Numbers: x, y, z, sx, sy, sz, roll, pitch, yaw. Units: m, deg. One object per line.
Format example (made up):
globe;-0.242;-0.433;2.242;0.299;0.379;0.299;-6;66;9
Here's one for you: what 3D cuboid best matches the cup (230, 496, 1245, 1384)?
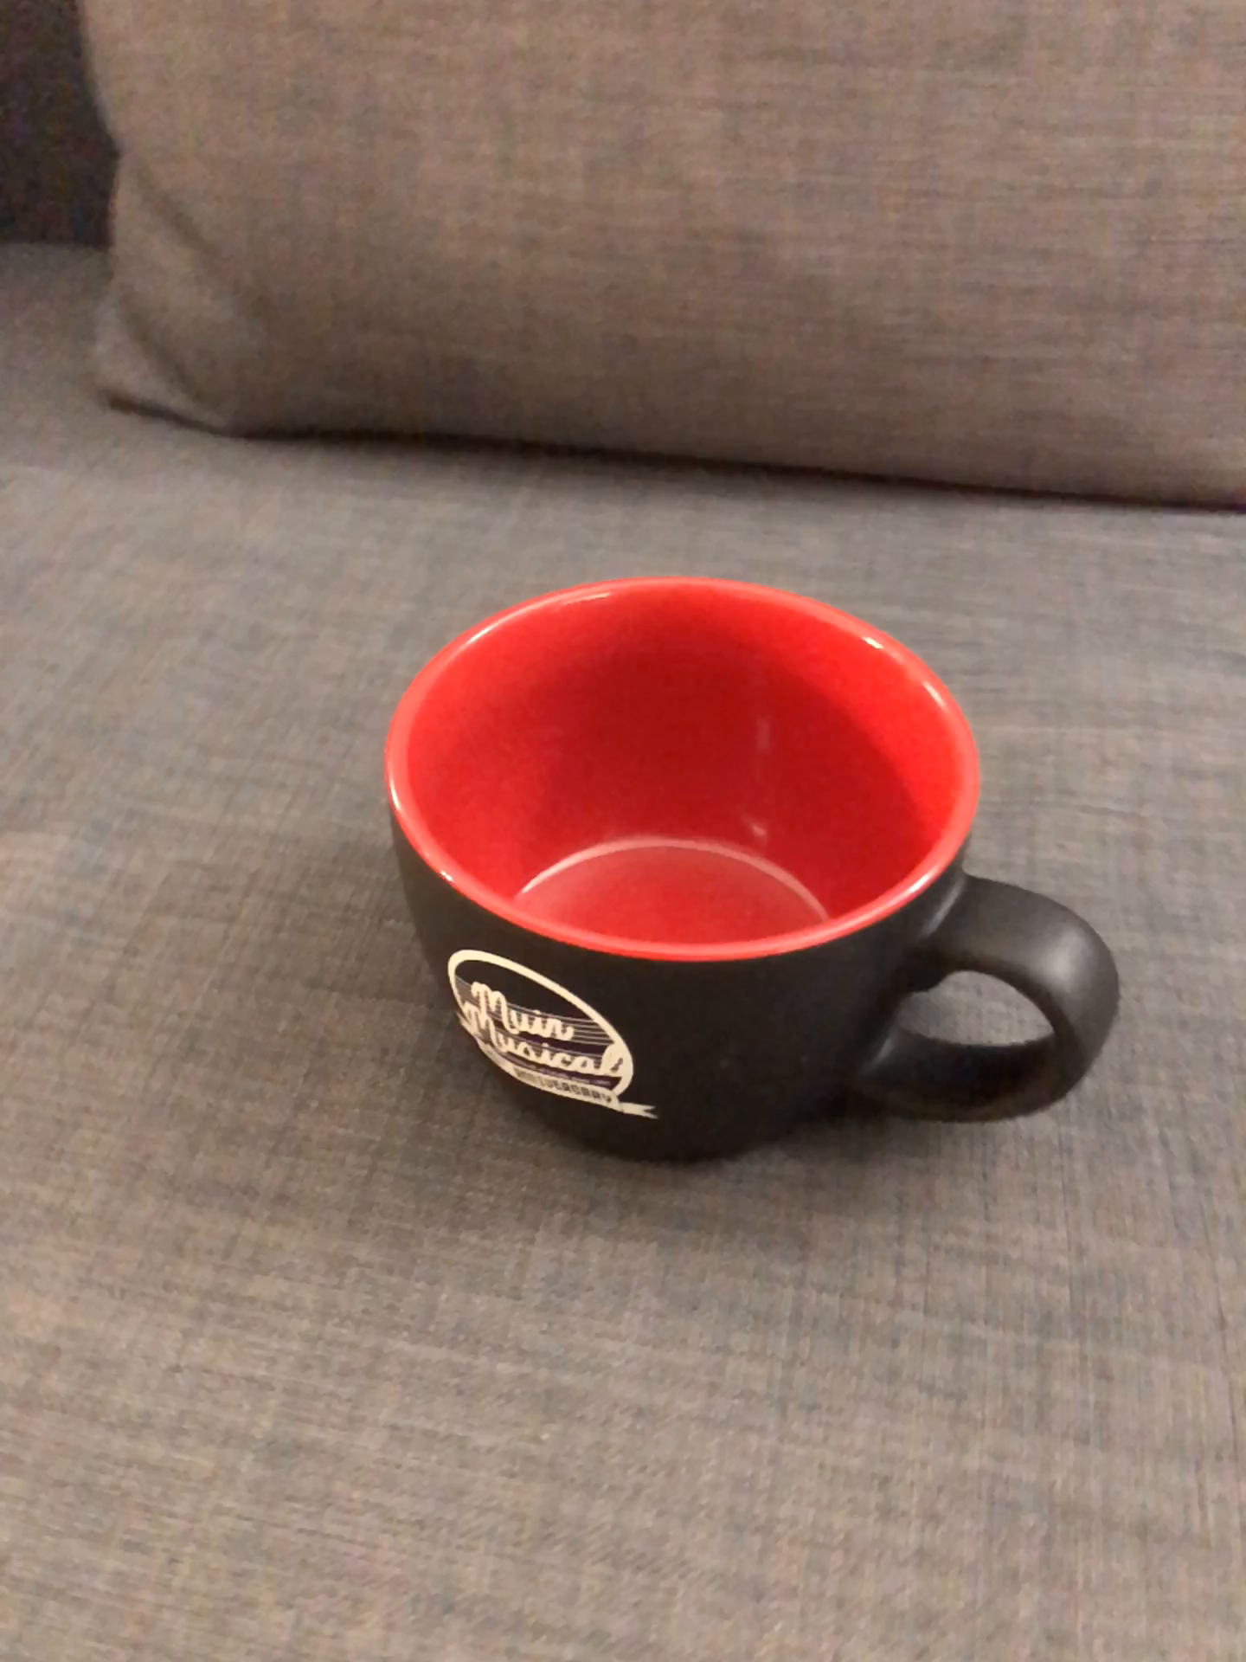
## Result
cup;0.025;0.009;0.298;0.160;0.080;0.120;22;47;24
